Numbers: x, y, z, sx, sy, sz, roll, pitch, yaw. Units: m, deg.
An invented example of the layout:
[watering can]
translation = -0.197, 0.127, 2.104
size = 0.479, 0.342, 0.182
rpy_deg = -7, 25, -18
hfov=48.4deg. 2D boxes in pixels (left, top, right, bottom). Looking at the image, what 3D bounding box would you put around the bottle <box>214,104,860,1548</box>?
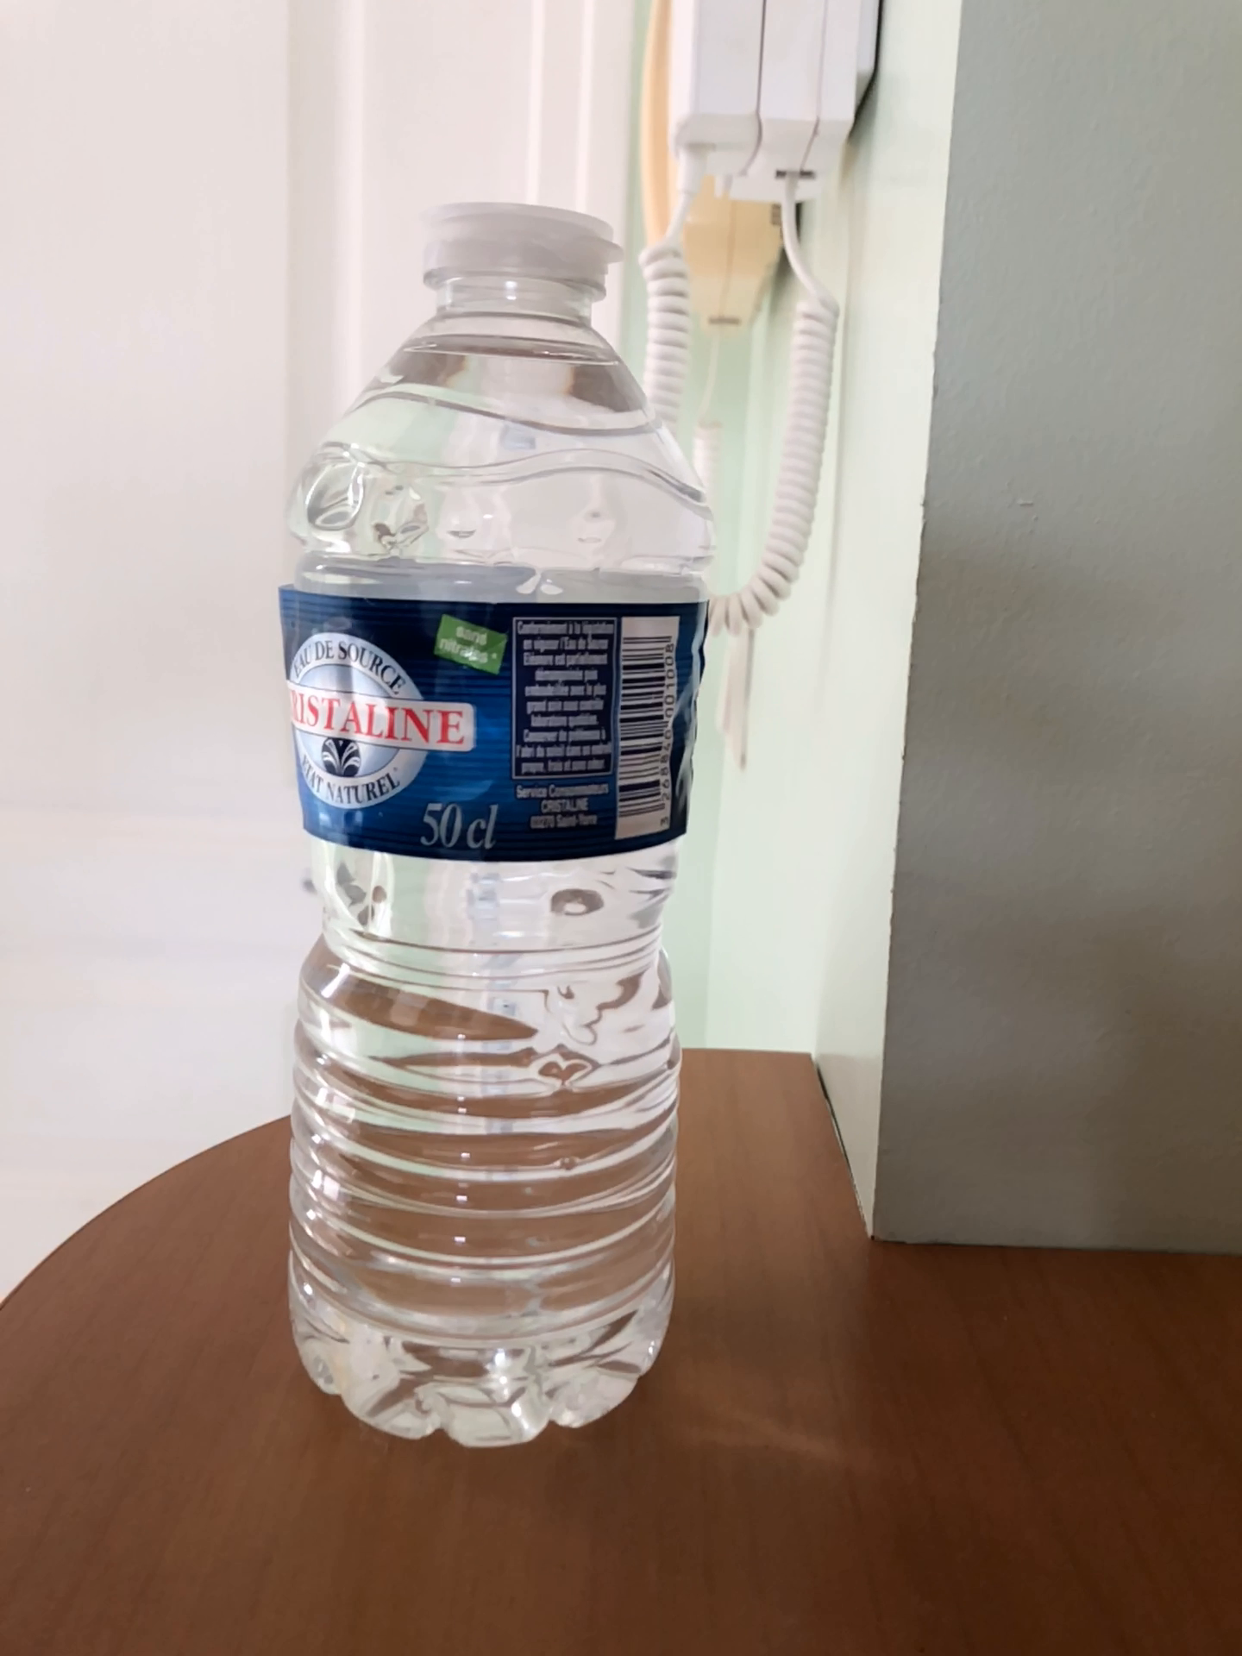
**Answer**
[bottle]
translation = -0.016, -0.001, 0.227
size = 0.070, 0.190, 0.070
rpy_deg = 2, 9, 0
